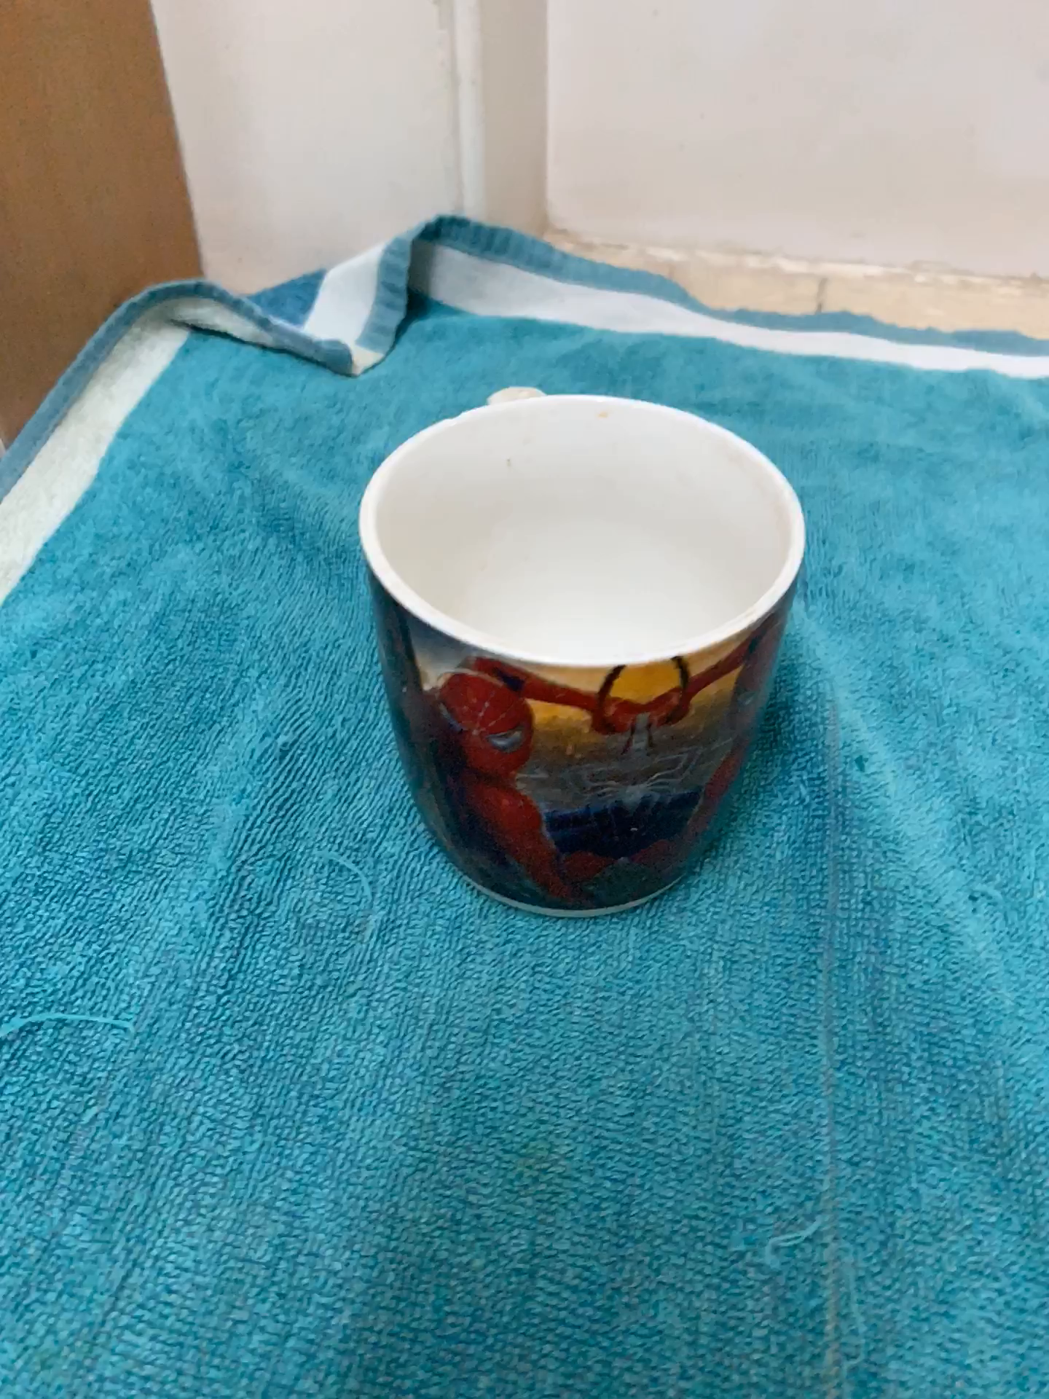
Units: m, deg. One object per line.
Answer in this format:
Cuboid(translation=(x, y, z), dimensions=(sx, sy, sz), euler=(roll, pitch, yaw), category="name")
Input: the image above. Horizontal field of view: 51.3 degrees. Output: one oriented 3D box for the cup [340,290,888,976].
Cuboid(translation=(0.009, -0.021, 0.249), dimensions=(0.080, 0.089, 0.121), euler=(-8, 45, -8), category="cup")
